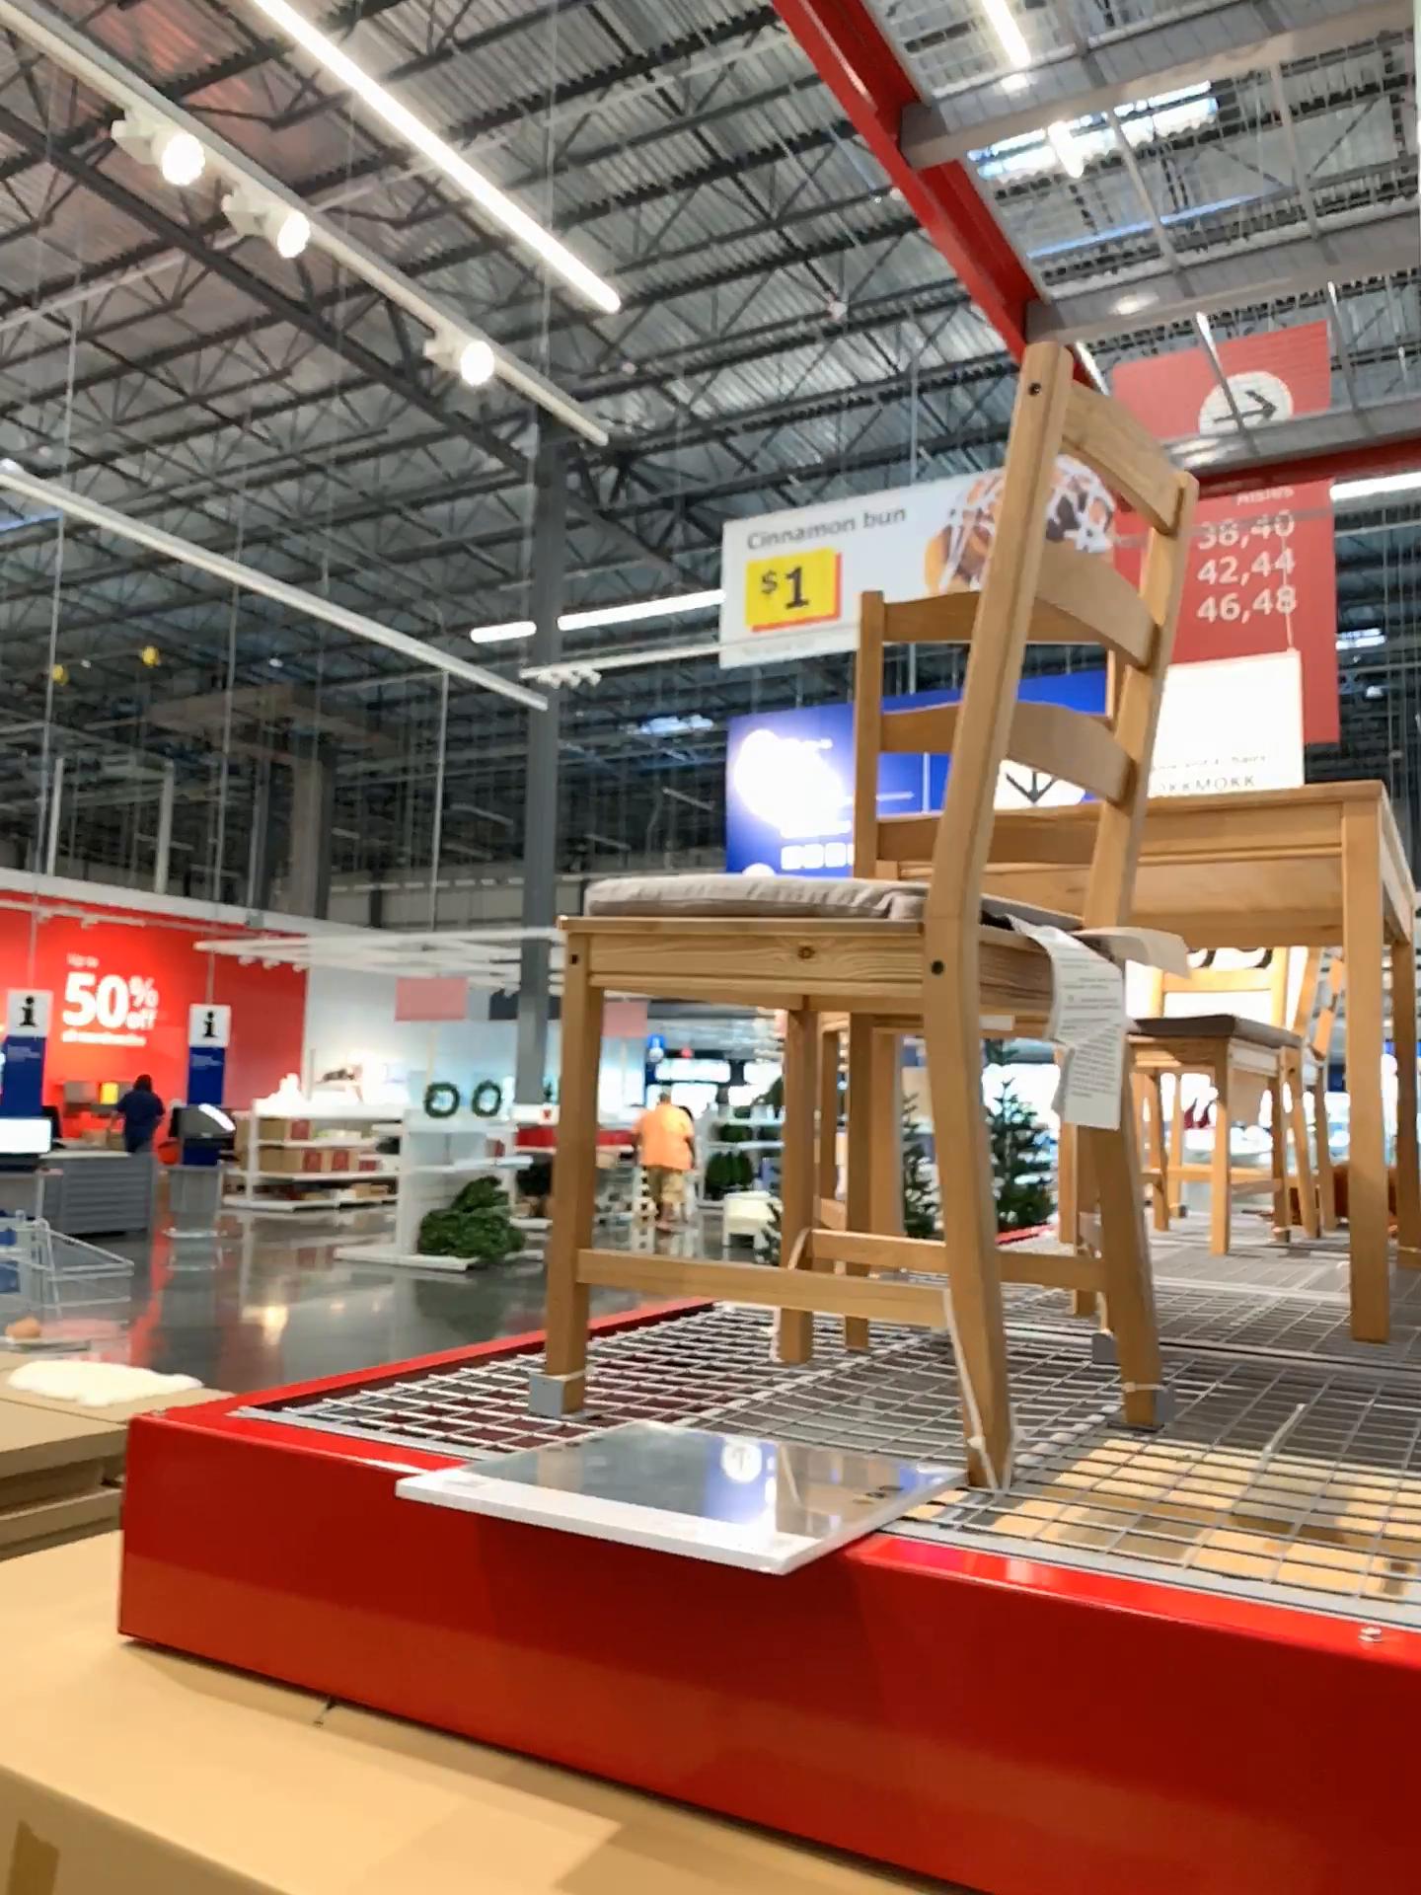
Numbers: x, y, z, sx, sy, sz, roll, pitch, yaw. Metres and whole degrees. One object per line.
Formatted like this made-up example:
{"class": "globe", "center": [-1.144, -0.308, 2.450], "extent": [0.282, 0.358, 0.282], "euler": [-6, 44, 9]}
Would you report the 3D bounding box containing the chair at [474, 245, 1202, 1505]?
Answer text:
{"class": "chair", "center": [0.138, -0.044, 1.366], "extent": [0.500, 0.912, 0.439], "euler": [-3, -8, 34]}
